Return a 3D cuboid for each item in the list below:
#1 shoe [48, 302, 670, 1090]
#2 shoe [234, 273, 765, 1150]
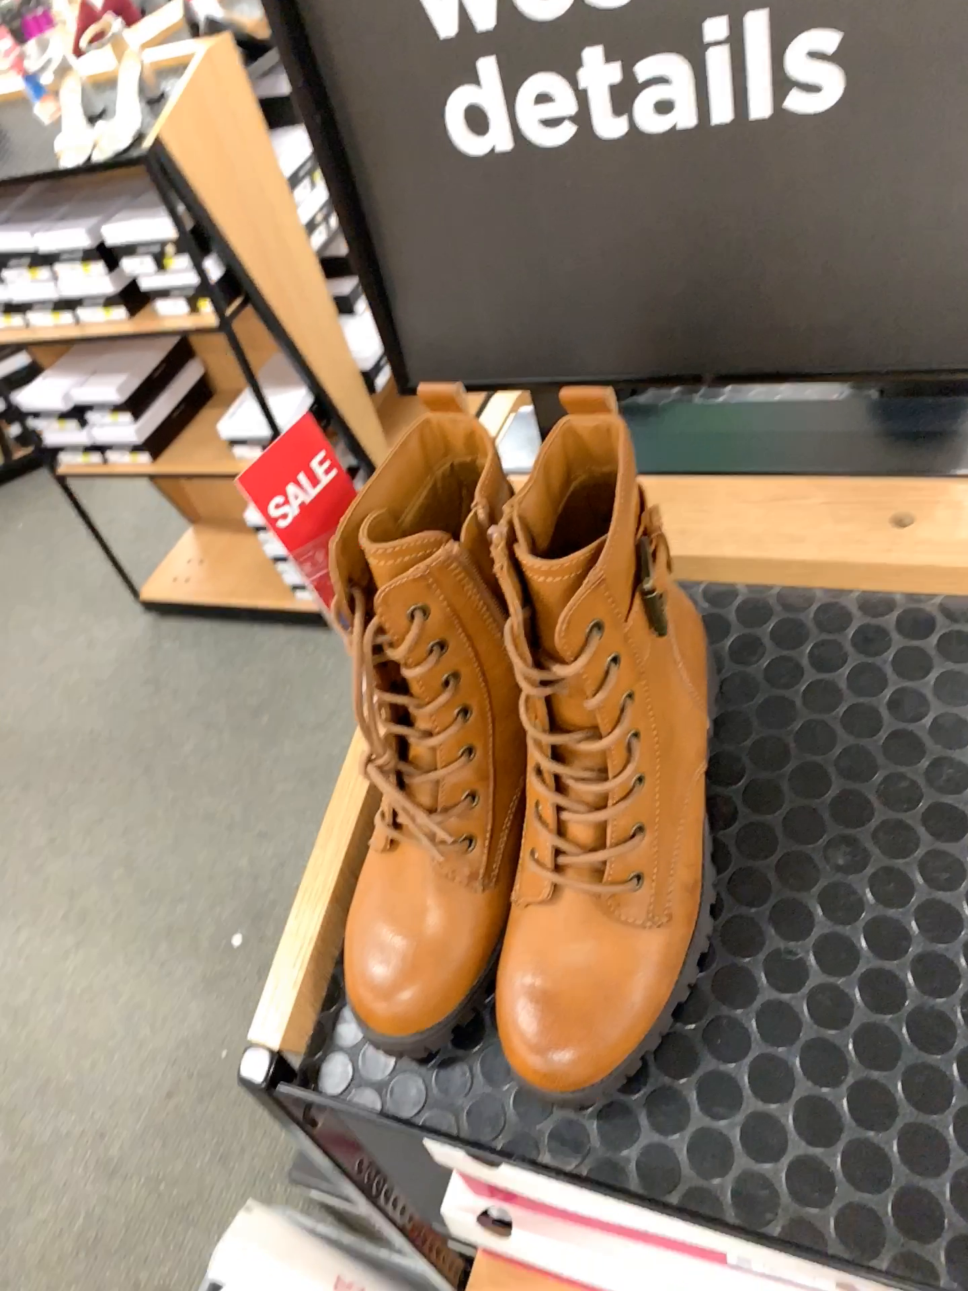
[{"bbox_3d":[-0.018,0.015,0.467,0.090,0.229,0.276,11,51,29],"label":"shoe"},{"bbox_3d":[0.047,0.020,0.436,0.110,0.229,0.287,2,47,22],"label":"shoe"}]
